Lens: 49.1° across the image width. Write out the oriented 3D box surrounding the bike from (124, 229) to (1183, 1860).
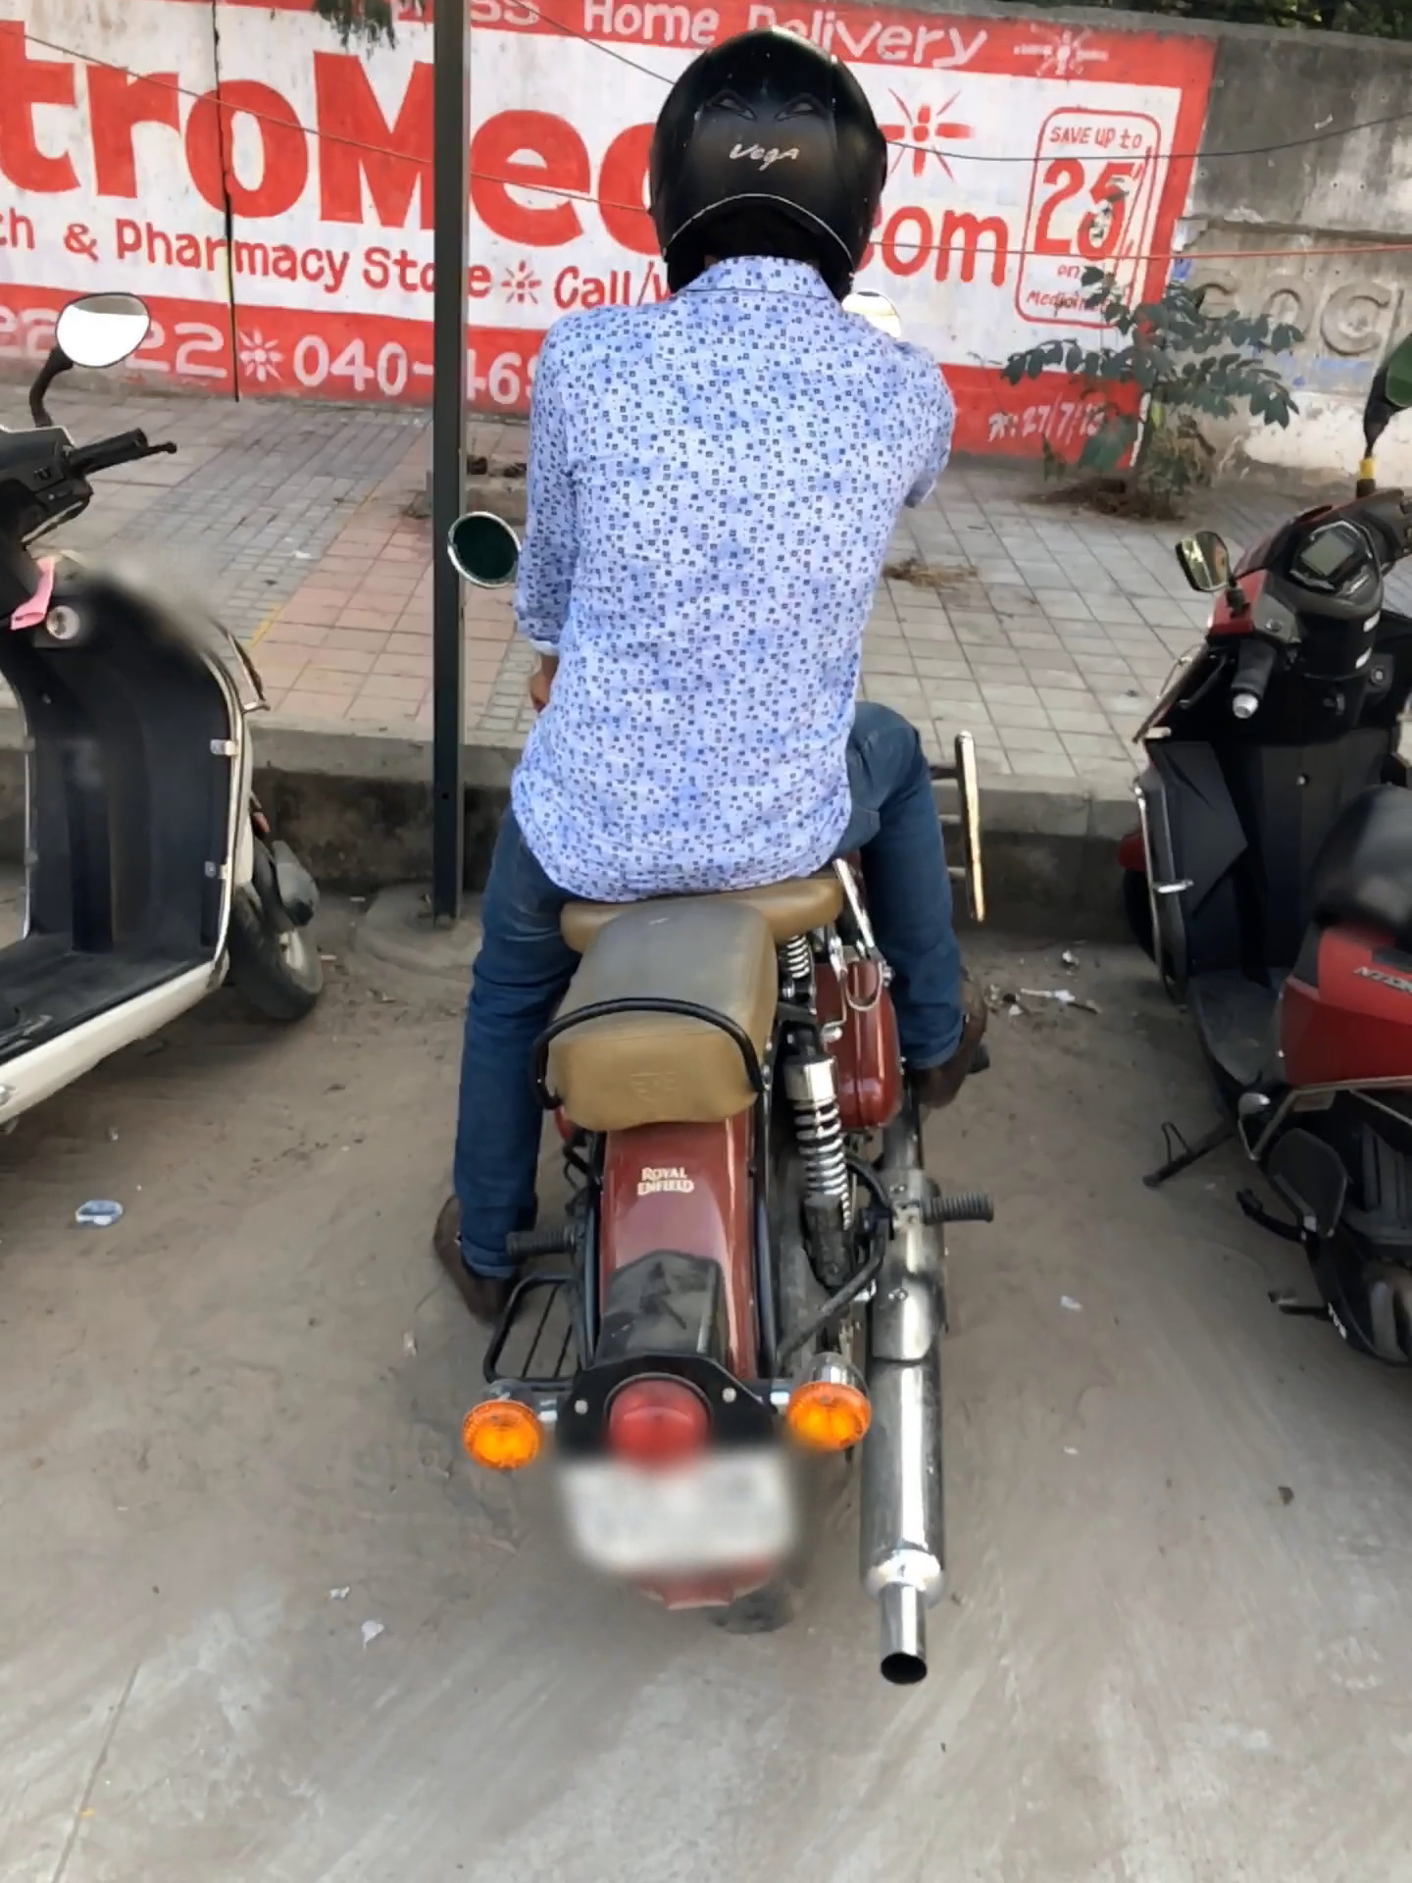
[{"bbox_3d":[-0.061,-0.051,2.066,0.792,1.255,1.558,5,33,0],"label":"bike"}]
